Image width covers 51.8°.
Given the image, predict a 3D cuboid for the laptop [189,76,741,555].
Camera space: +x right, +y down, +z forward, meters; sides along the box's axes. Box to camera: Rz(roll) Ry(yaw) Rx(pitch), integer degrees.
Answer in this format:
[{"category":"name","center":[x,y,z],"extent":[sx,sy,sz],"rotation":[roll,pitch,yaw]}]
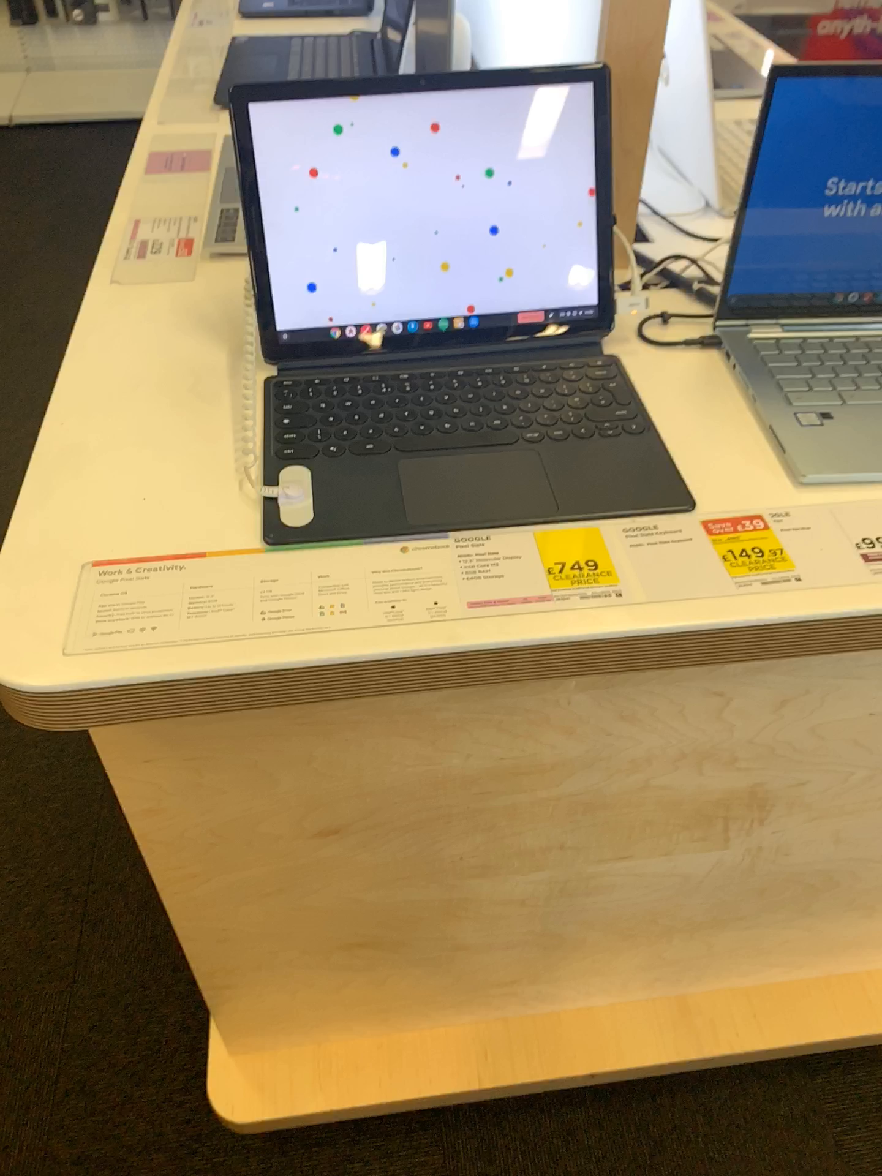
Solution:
[{"category":"laptop","center":[-0.004,-0.204,0.631],"extent":[0.285,0.187,0.295],"rotation":[-5,45,-6]}]

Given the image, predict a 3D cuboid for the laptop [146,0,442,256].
[{"category":"laptop","center":[-0.131,-0.518,0.909],"extent":[0.232,0.222,0.322],"rotation":[-4,45,-6]}]
